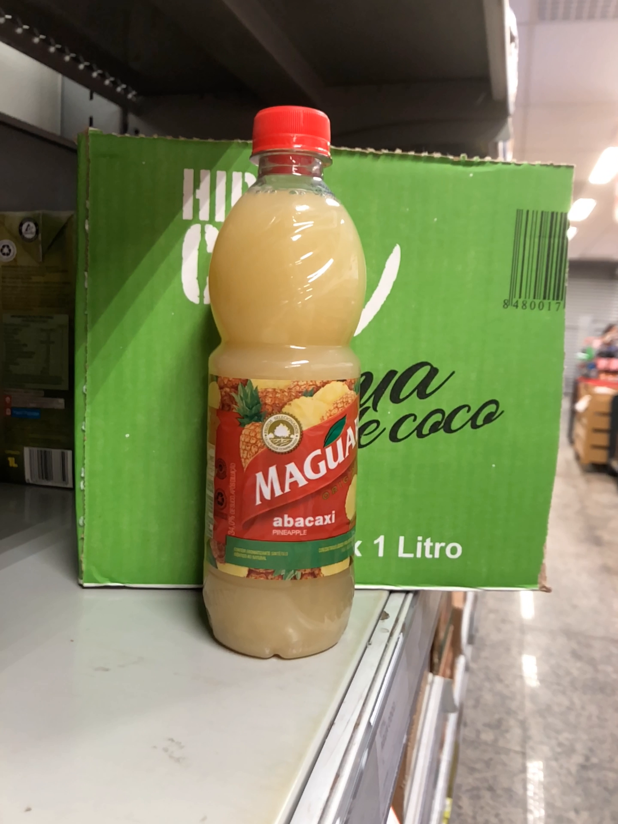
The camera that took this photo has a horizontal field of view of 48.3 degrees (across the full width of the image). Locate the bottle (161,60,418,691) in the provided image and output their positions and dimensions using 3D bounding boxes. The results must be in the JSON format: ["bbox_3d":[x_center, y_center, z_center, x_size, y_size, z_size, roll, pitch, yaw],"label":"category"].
[{"bbox_3d":[-0.011,-0.012,0.272,0.070,0.209,0.060,-2,9,-32],"label":"bottle"}]
